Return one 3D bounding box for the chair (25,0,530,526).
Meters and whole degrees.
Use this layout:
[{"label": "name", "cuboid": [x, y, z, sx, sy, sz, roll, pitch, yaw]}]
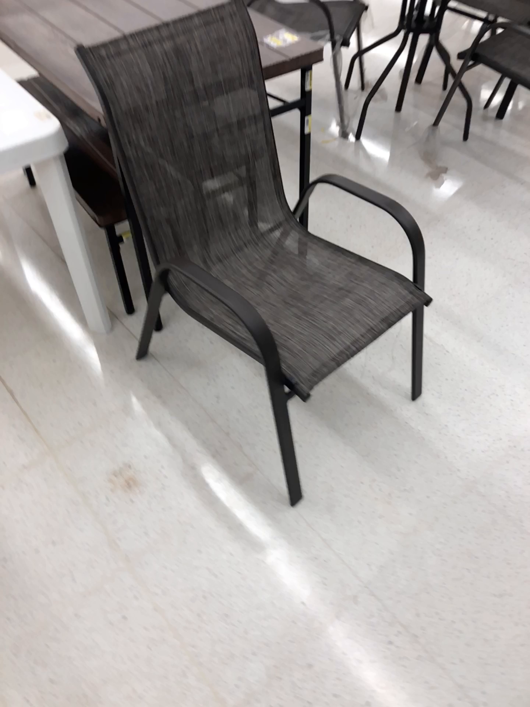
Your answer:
[{"label": "chair", "cuboid": [0.012, -0.226, 1.364, 0.602, 0.855, 0.712, -34, 57, -27]}]
